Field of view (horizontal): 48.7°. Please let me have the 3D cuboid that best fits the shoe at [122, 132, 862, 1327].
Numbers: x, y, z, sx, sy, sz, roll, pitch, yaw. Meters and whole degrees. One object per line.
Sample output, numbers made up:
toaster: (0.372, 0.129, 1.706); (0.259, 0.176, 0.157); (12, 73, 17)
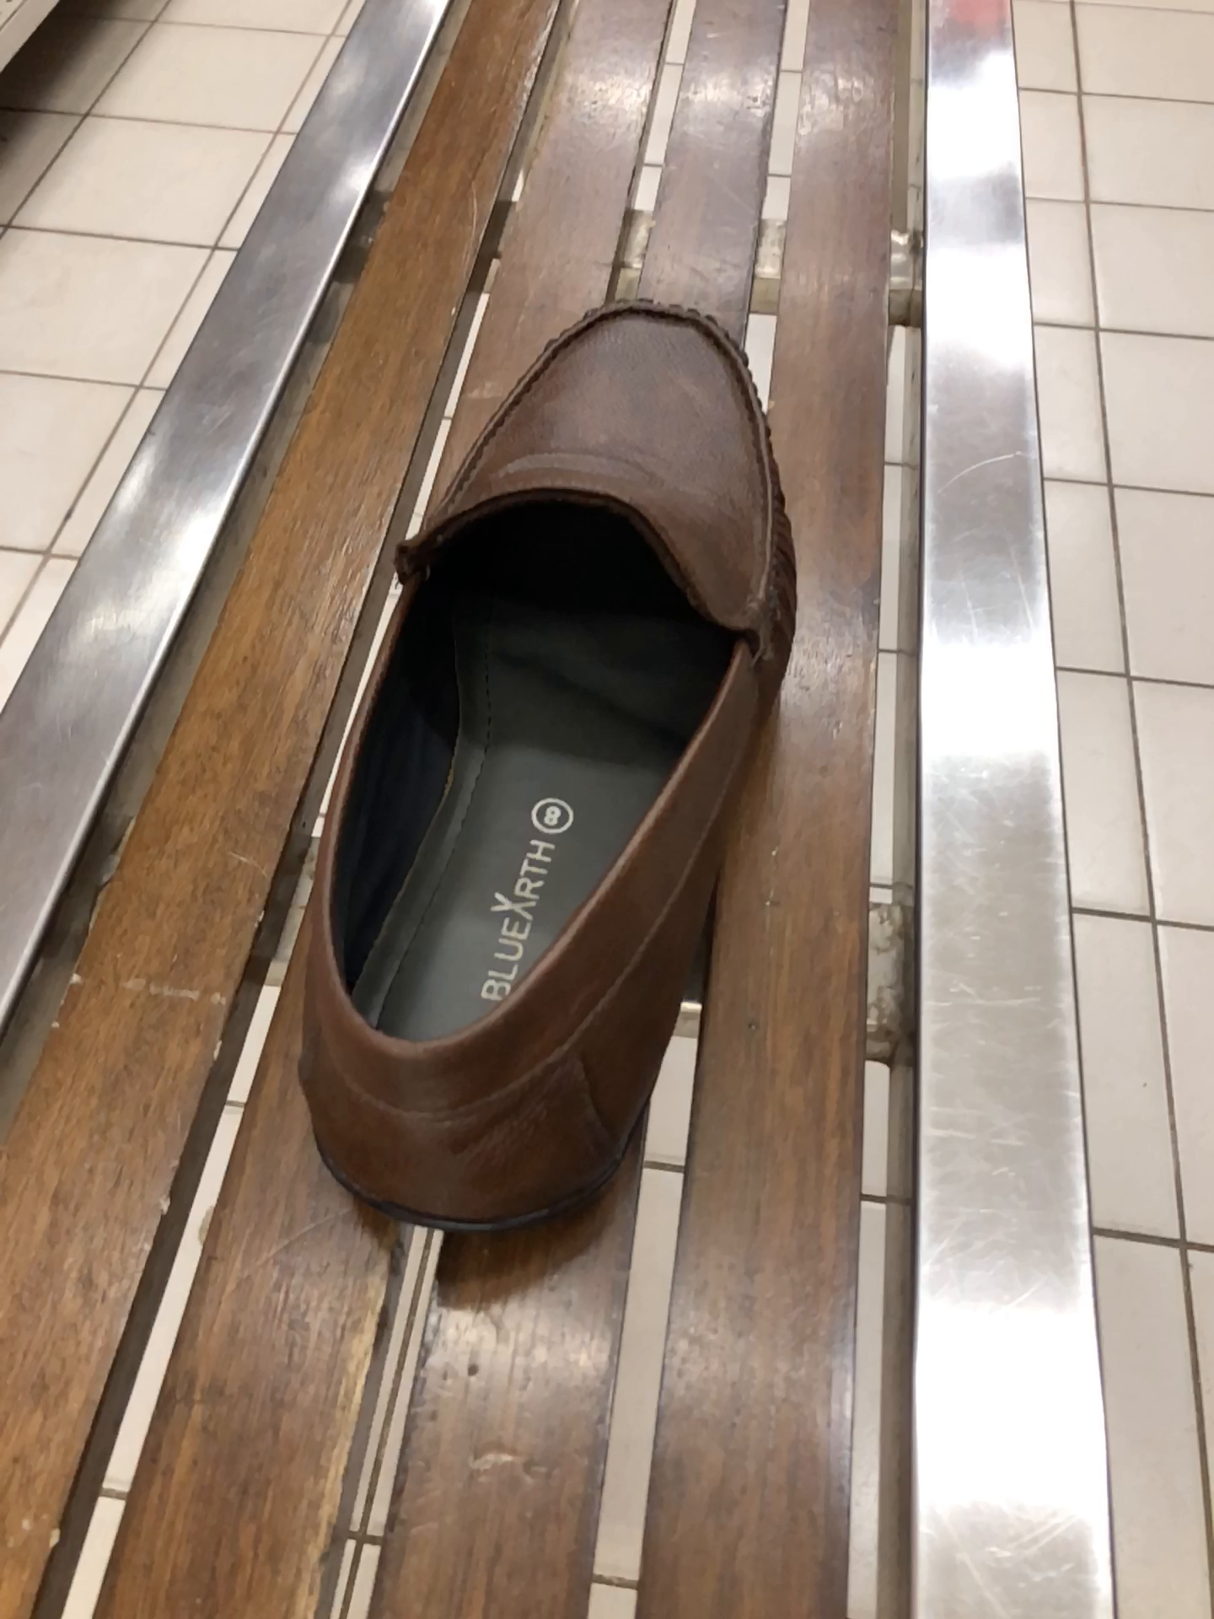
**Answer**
shoe: (-0.004, -0.044, 0.343); (0.104, 0.093, 0.302); (8, 56, 6)
